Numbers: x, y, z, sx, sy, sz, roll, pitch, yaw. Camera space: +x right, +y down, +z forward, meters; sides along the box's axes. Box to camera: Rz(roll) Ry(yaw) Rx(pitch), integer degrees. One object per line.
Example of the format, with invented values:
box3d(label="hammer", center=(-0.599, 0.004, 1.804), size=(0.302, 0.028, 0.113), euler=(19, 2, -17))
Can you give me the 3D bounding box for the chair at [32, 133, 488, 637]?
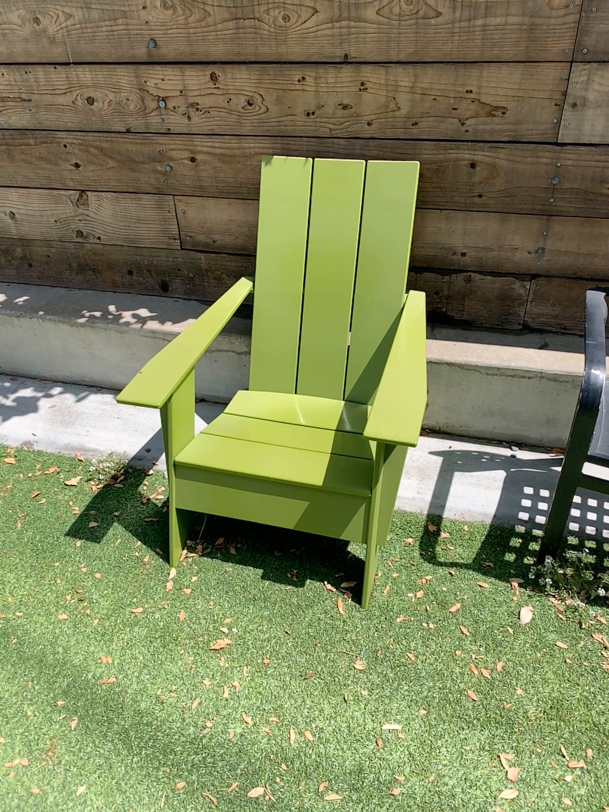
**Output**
box3d(label="chair", center=(0.009, -0.125, 1.615), size=(0.721, 0.845, 0.904), euler=(9, 40, 16))
